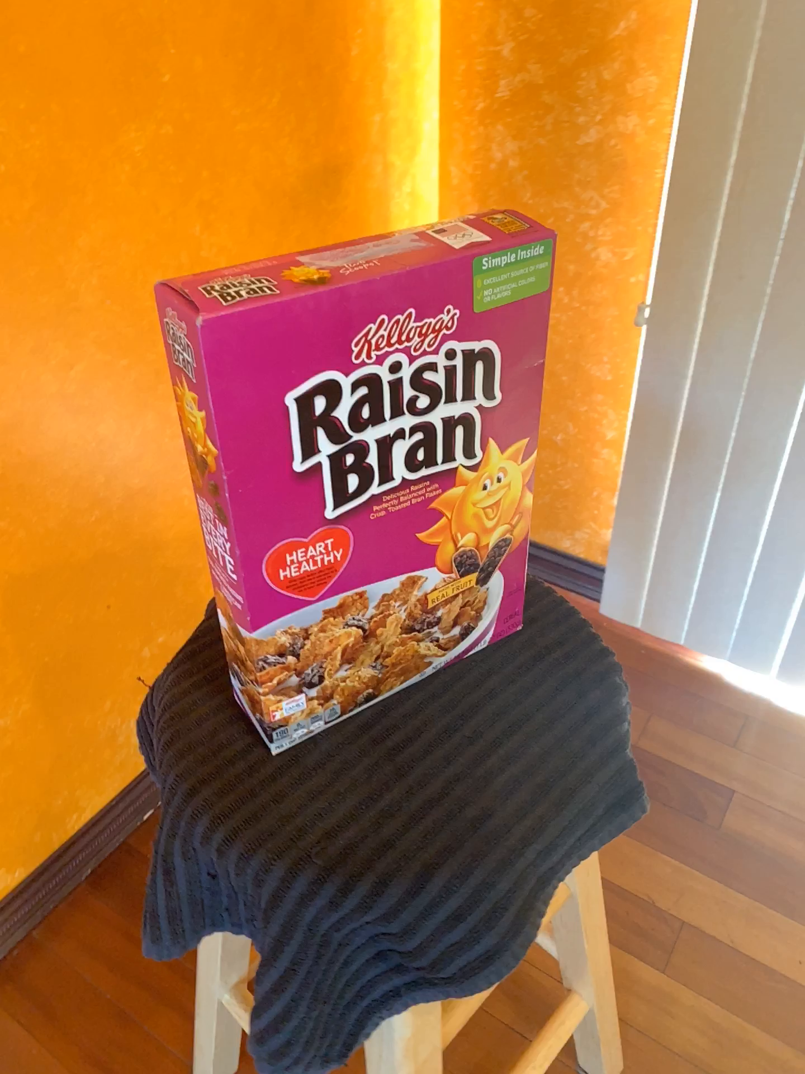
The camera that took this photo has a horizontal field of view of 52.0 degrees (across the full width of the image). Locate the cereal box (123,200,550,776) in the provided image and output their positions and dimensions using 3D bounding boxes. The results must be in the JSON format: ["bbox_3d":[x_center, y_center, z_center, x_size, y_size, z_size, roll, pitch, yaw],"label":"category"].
[{"bbox_3d":[-0.023,-0.021,0.478,0.200,0.288,0.060,-23,42,-27],"label":"cereal box"}]
